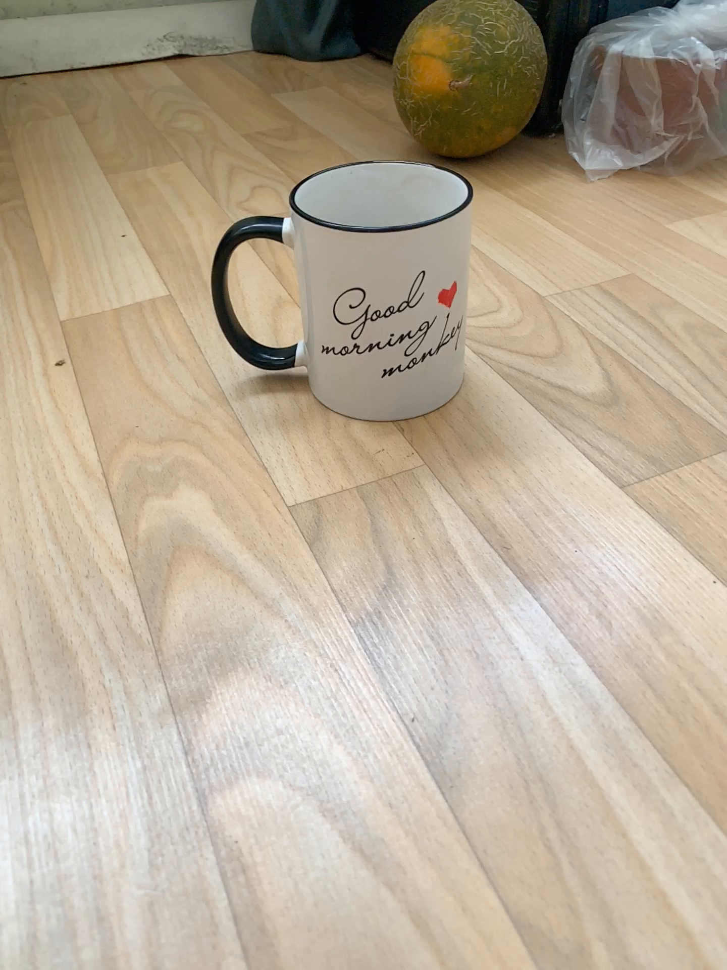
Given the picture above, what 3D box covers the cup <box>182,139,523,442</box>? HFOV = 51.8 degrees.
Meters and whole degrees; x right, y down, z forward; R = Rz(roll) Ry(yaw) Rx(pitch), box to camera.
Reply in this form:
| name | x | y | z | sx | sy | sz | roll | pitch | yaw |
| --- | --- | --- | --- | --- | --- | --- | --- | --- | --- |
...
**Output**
| name | x | y | z | sx | sy | sz | roll | pitch | yaw |
| --- | --- | --- | --- | --- | --- | --- | --- | --- | --- |
| cup | -0.008 | -0.090 | 0.345 | 0.130 | 0.100 | 0.080 | -6 | 42 | -6 |
